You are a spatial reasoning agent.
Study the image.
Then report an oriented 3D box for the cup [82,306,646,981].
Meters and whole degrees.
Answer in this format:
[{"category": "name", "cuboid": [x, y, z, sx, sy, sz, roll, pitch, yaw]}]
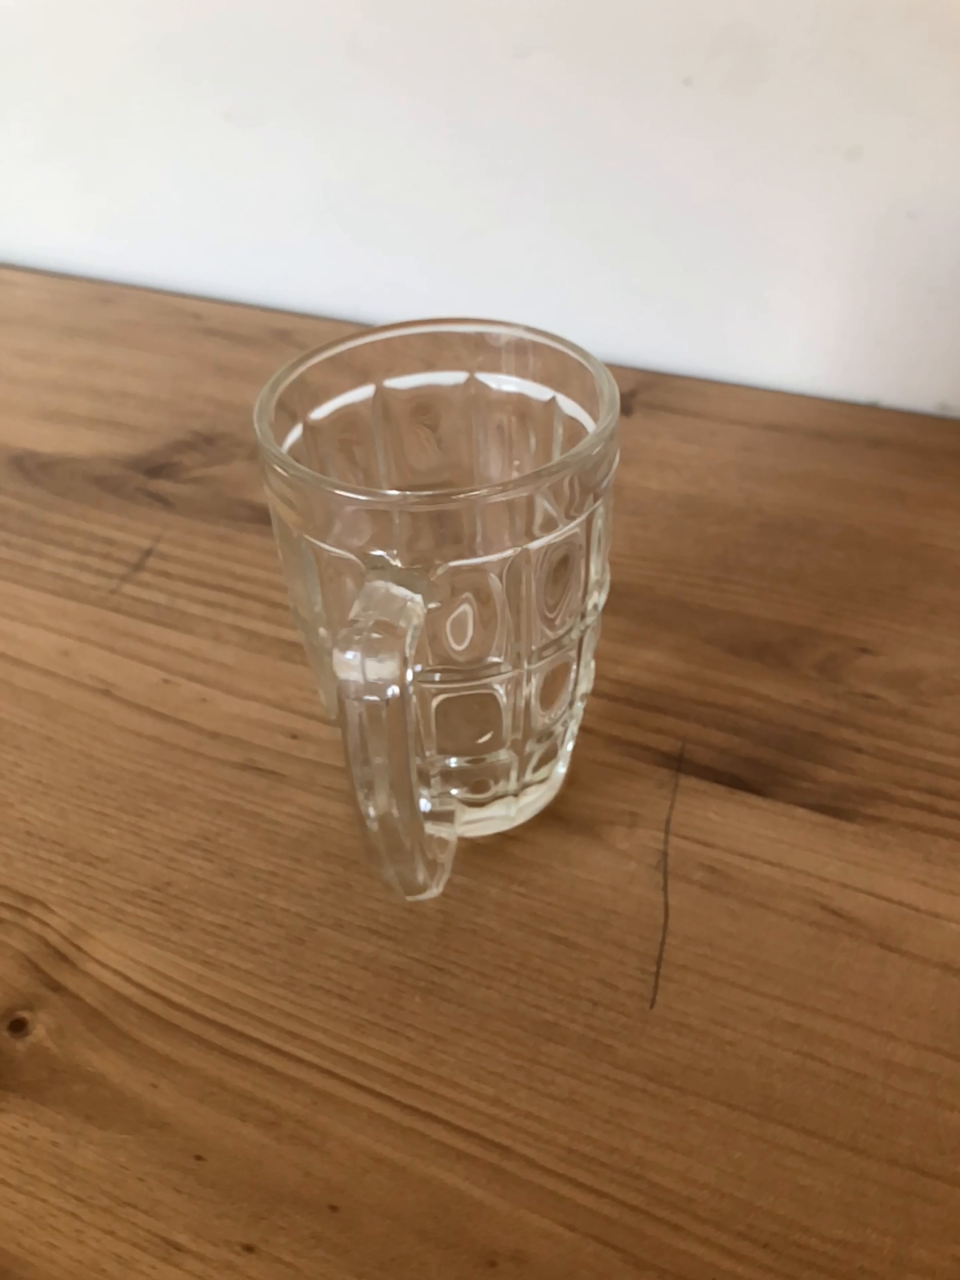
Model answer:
[{"category": "cup", "cuboid": [-0.011, -0.006, 0.258, 0.088, 0.102, 0.120, 4, 40, 12]}]
